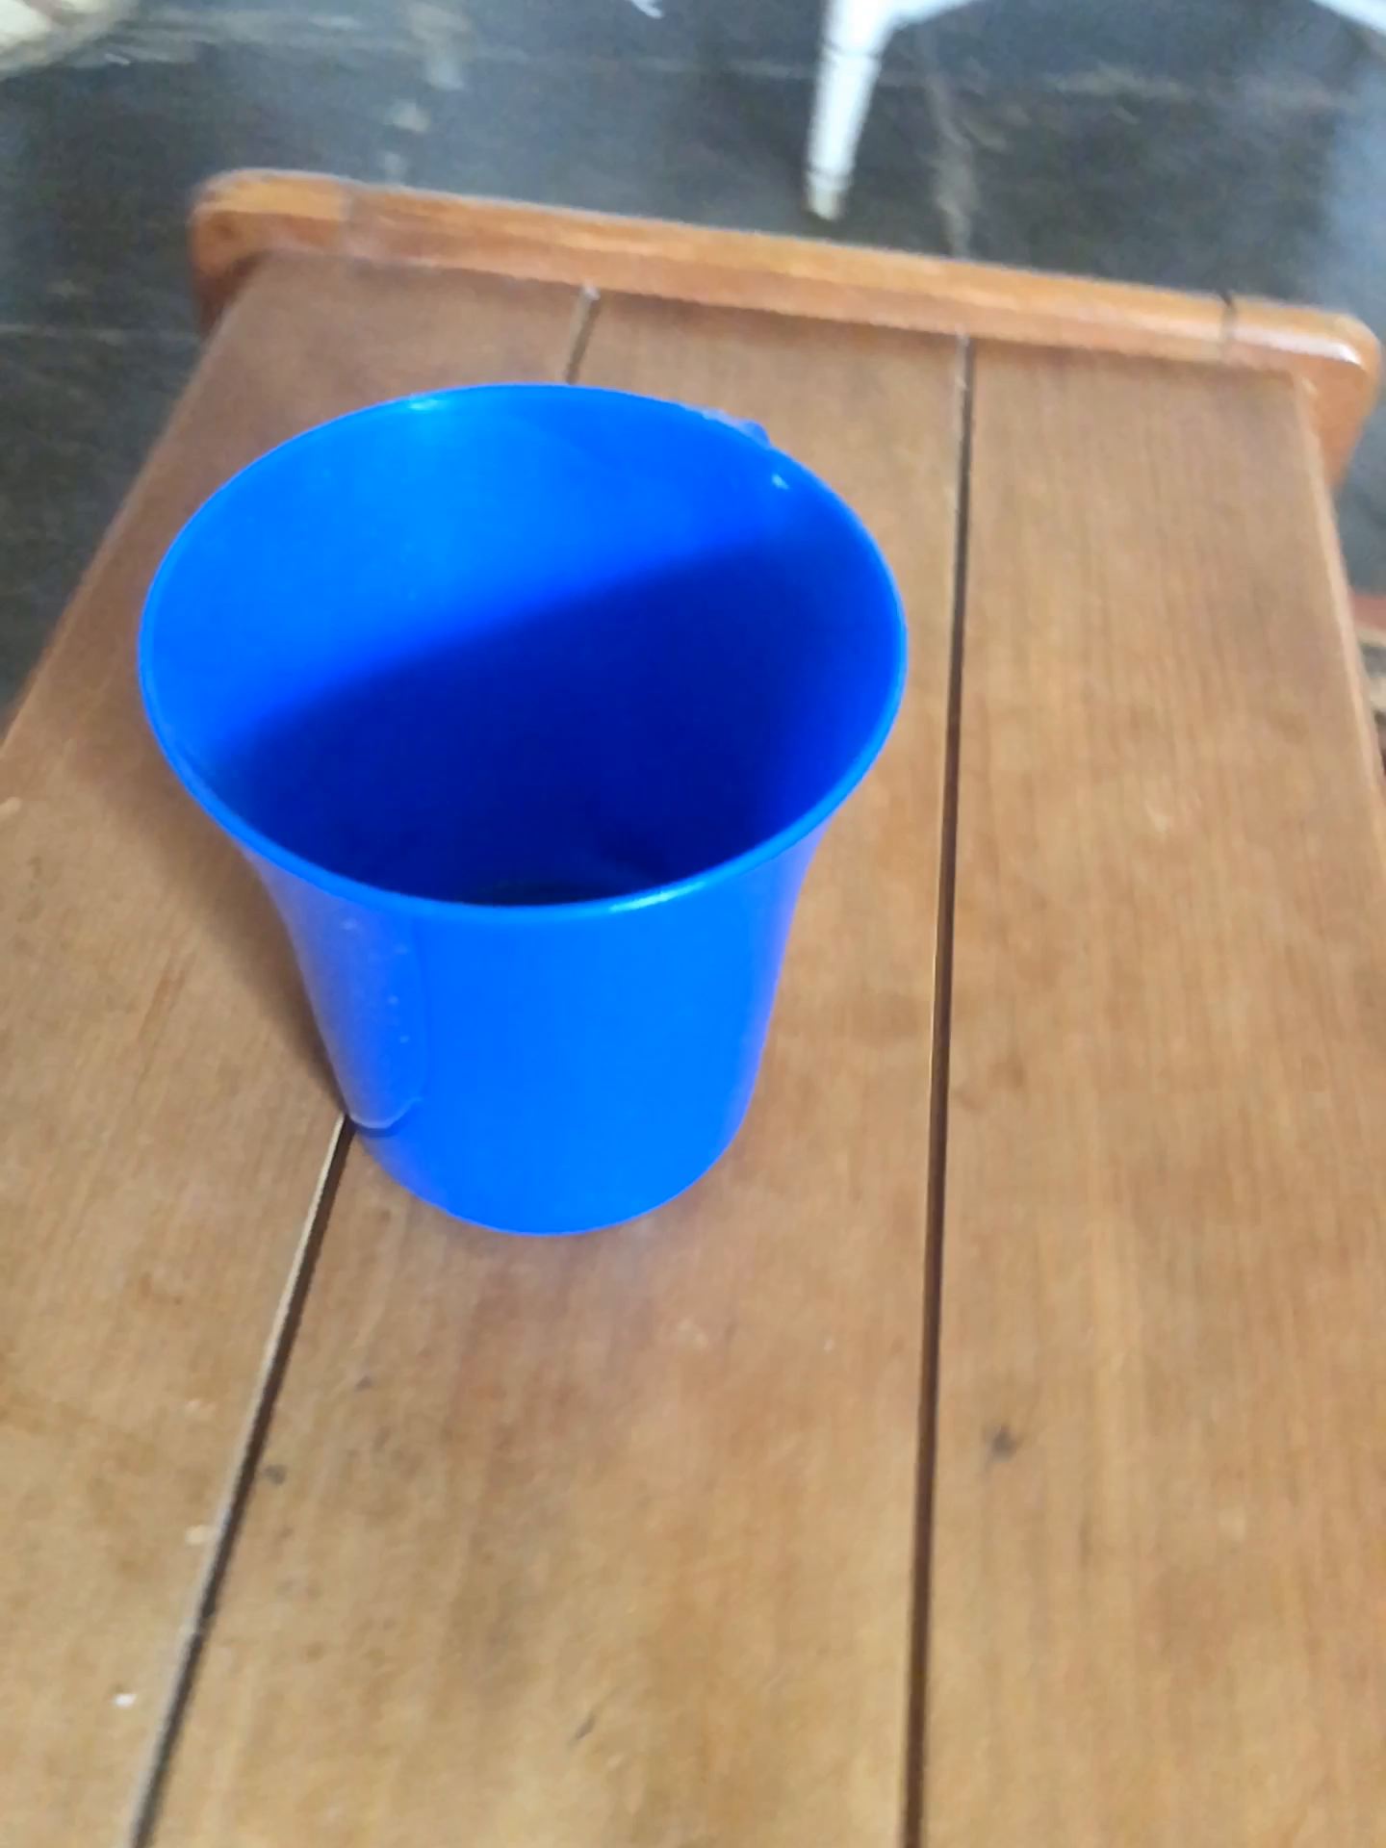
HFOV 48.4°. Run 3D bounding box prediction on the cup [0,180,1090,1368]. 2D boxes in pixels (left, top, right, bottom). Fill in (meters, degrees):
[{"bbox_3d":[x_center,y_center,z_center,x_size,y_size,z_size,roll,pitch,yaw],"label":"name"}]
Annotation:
[{"bbox_3d":[-0.015,-0.024,0.234,0.100,0.099,0.121,20,56,10],"label":"cup"}]
